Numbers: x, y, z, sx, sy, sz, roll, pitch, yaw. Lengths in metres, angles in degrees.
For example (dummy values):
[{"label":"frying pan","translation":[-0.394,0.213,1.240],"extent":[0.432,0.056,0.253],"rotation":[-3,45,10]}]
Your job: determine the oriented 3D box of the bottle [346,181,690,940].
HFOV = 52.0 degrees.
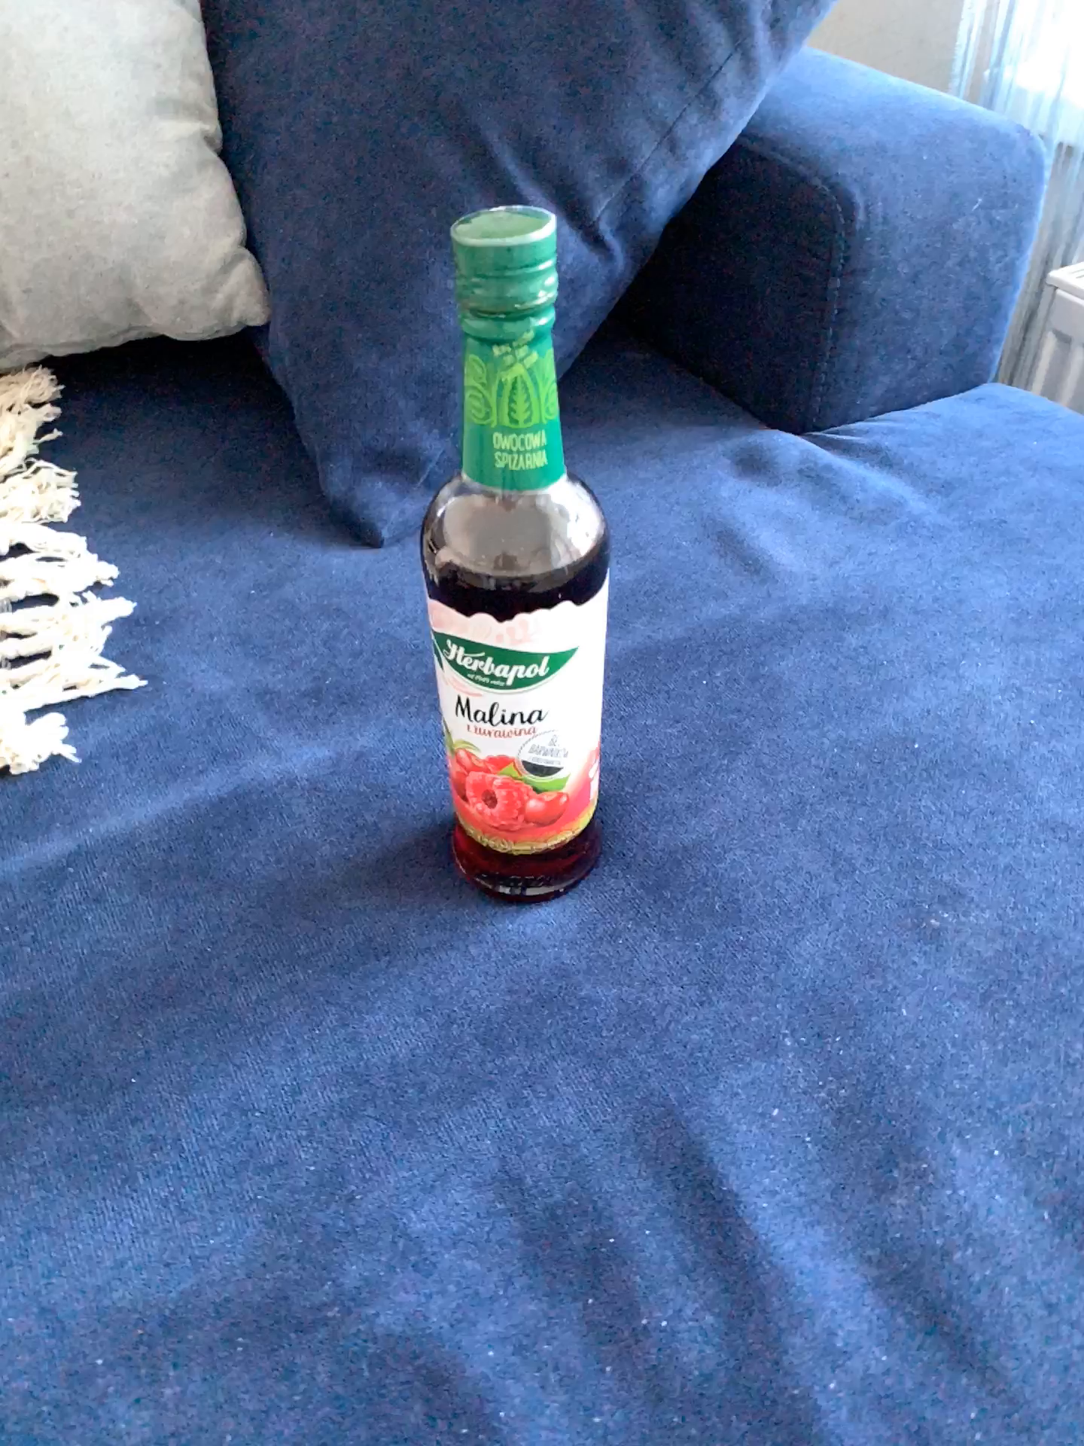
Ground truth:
[{"label":"bottle","translation":[-0.002,-0.038,0.379],"extent":[0.070,0.249,0.070],"rotation":[-1,43,1]}]
